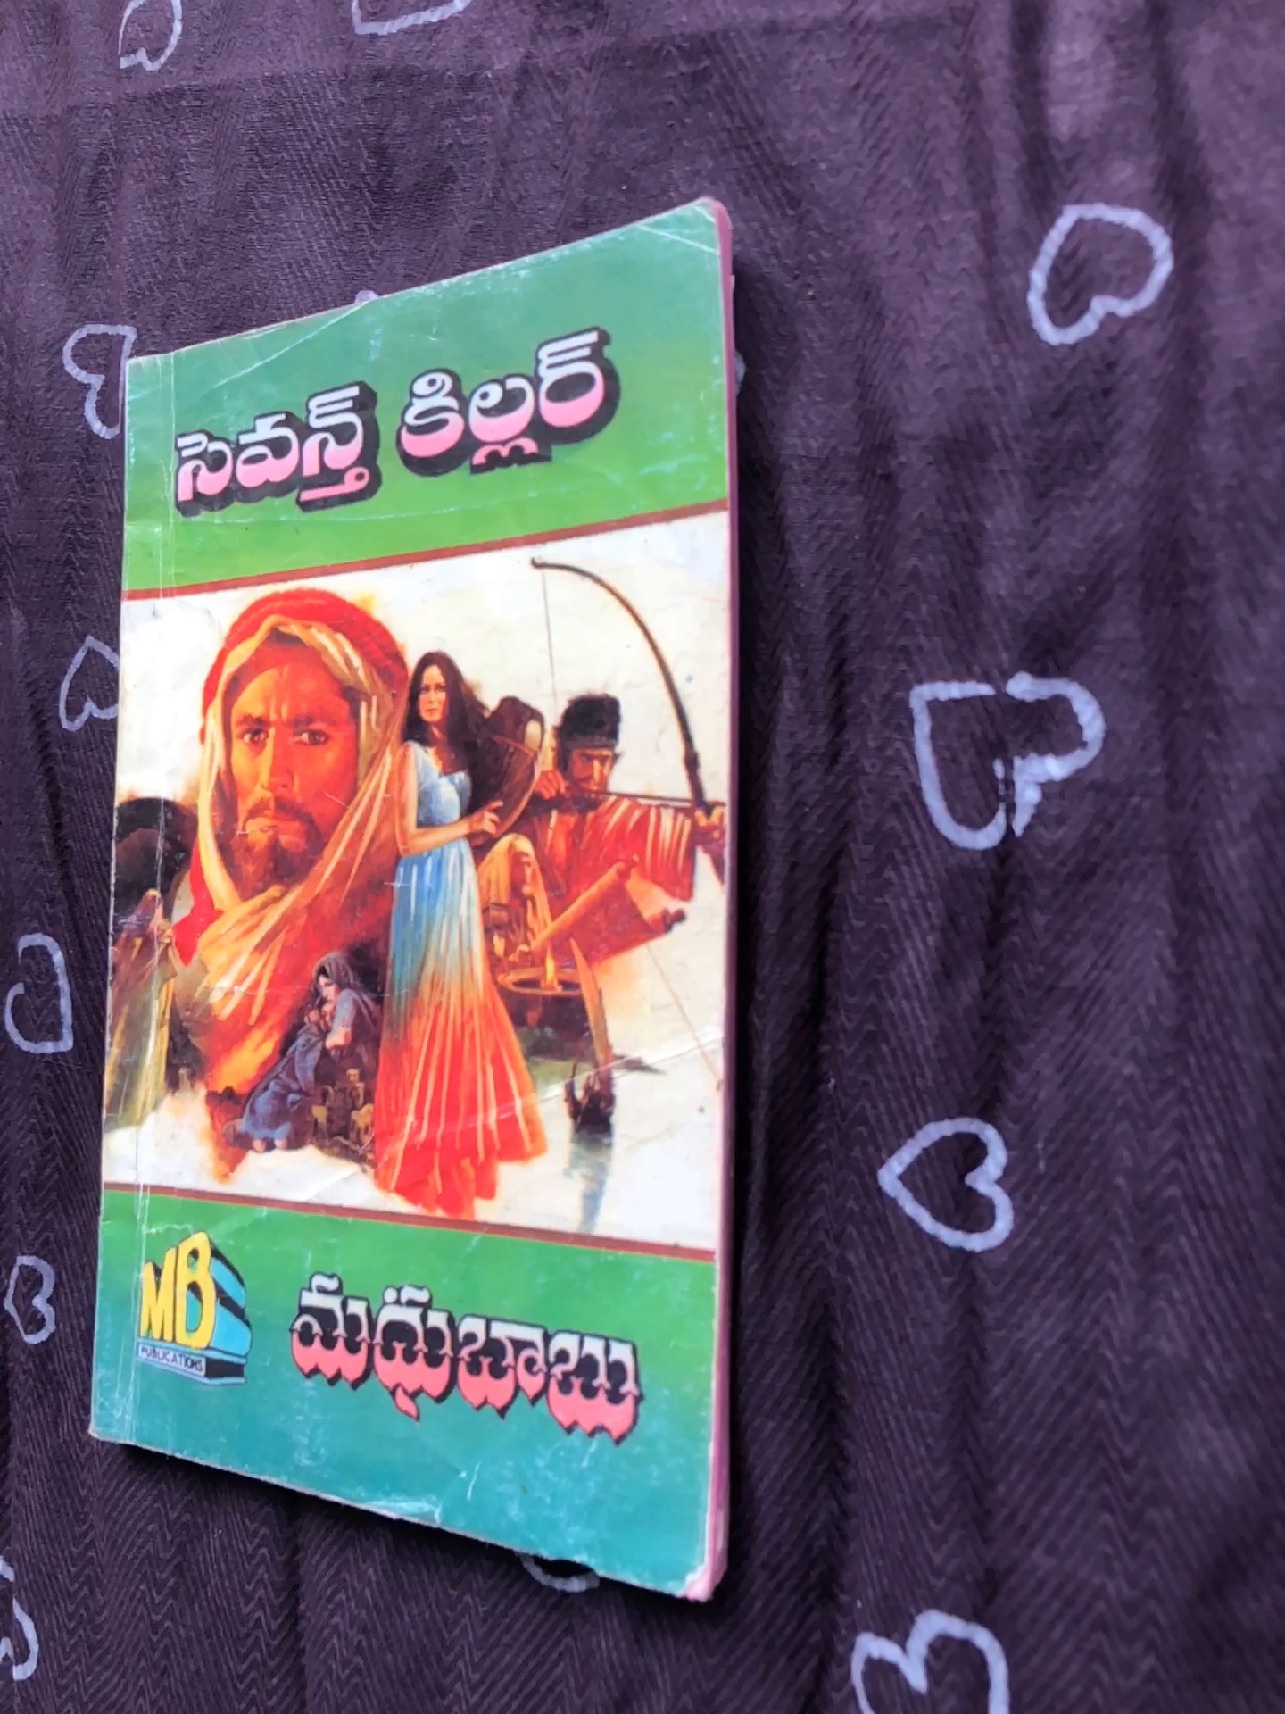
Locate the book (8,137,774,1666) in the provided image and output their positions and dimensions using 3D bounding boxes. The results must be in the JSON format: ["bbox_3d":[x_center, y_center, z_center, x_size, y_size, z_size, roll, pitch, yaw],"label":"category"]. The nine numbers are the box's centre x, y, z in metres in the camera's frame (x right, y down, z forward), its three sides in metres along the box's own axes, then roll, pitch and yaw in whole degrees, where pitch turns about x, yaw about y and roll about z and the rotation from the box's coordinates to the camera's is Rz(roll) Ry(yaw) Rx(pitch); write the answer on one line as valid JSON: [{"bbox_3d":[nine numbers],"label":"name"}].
[{"bbox_3d":[-0.034,0.003,0.169,0.100,0.010,0.150,0,87,28],"label":"book"}]
